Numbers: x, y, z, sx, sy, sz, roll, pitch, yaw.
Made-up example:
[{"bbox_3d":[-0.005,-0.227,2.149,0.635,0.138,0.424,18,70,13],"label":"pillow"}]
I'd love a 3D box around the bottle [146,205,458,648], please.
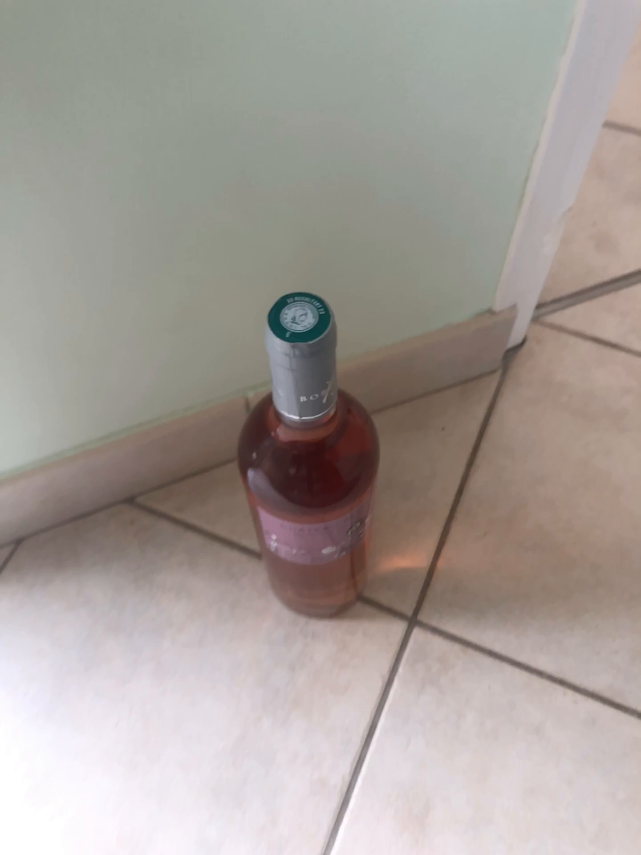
[{"bbox_3d":[-0.002,0.029,0.399,0.090,0.289,0.090,-1,60,1],"label":"bottle"}]
